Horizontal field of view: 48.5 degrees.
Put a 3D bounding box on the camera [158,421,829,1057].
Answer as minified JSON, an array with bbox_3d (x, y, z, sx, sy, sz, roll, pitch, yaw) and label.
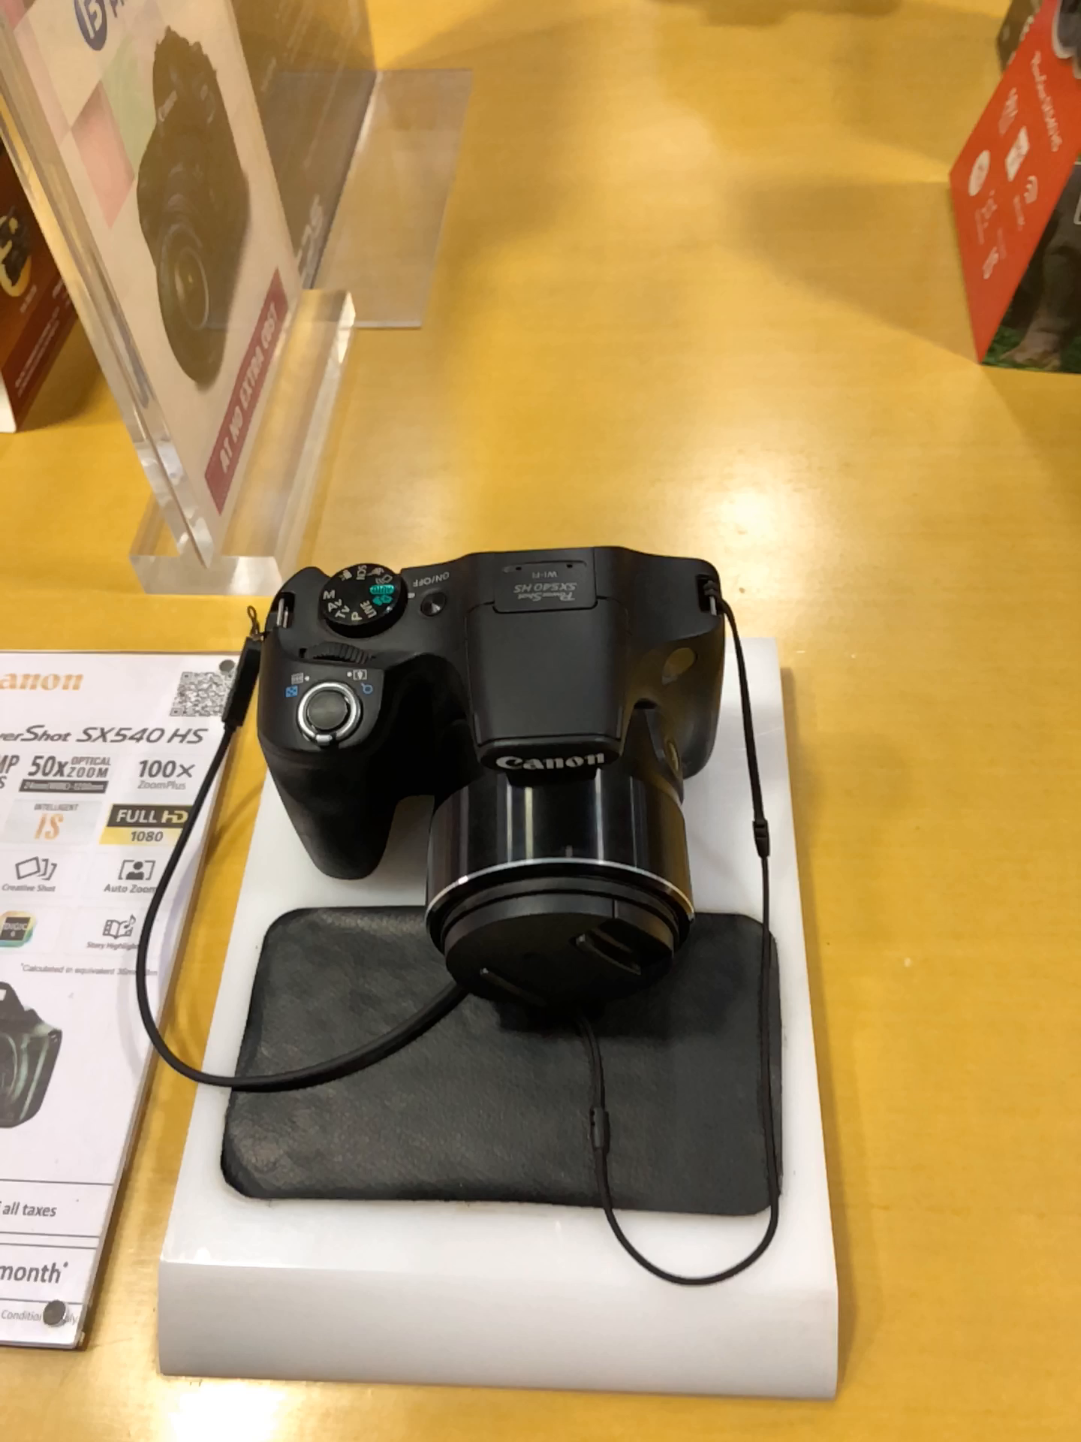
[{"bbox_3d":[-0.008,0.004,0.306,0.130,0.090,0.131,-2,54,2],"label":"camera"}]
